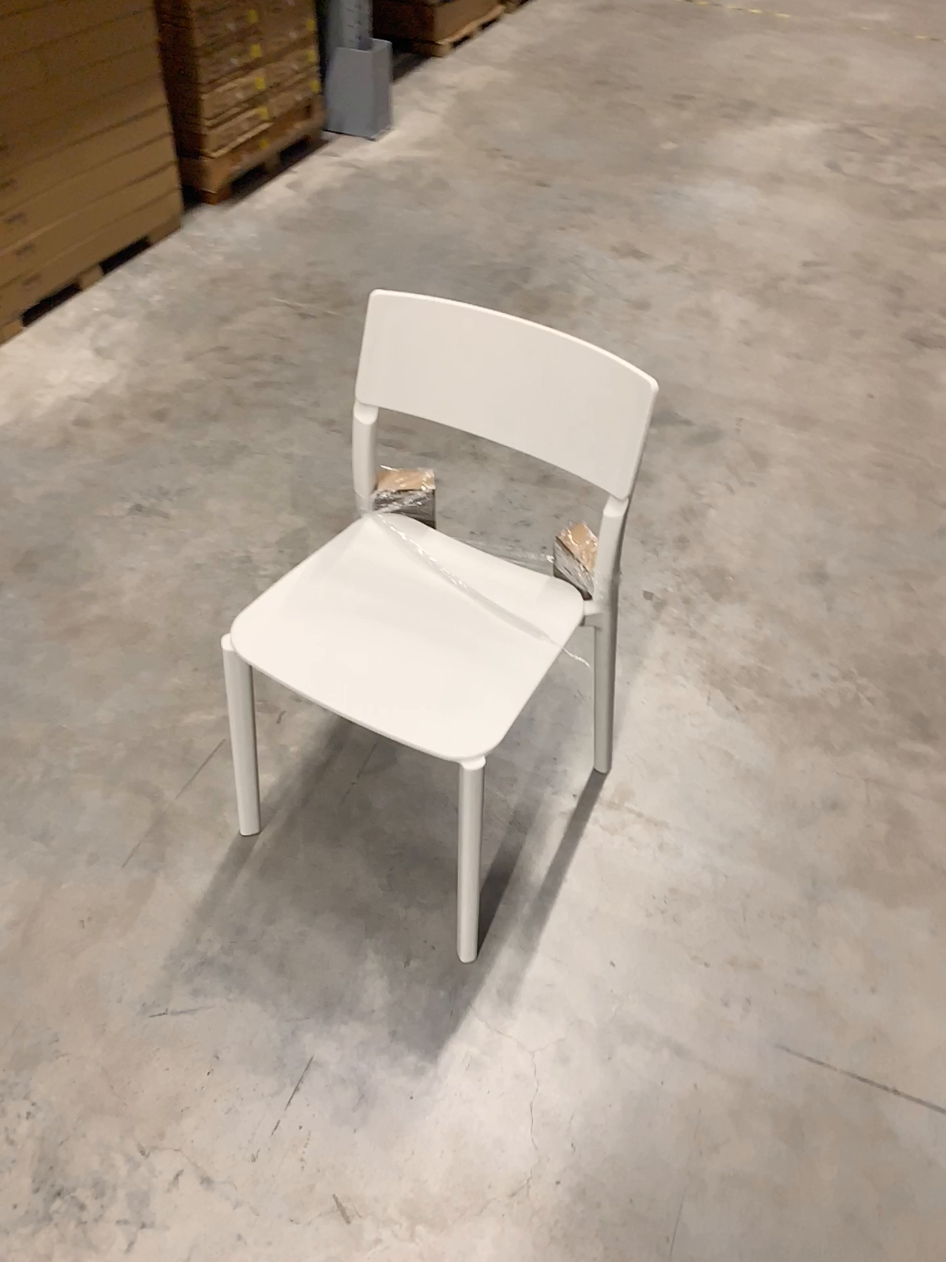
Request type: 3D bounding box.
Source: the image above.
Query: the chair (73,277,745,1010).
[{"bbox_3d":[-0.053,0.003,1.248,0.521,0.618,0.531,23,48,18],"label":"chair"}]
